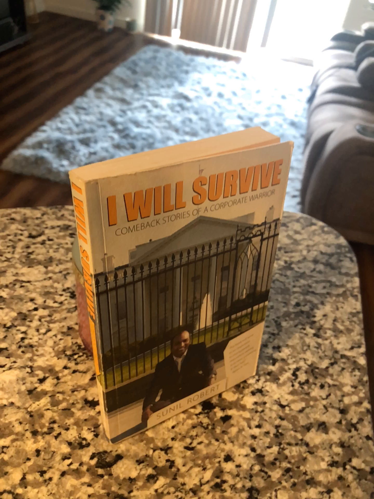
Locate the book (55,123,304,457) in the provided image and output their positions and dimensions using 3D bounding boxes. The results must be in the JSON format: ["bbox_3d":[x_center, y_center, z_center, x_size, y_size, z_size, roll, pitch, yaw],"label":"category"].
[{"bbox_3d":[0.000,0.028,0.267,0.135,0.191,0.032,-18,37,-30],"label":"book"}]
